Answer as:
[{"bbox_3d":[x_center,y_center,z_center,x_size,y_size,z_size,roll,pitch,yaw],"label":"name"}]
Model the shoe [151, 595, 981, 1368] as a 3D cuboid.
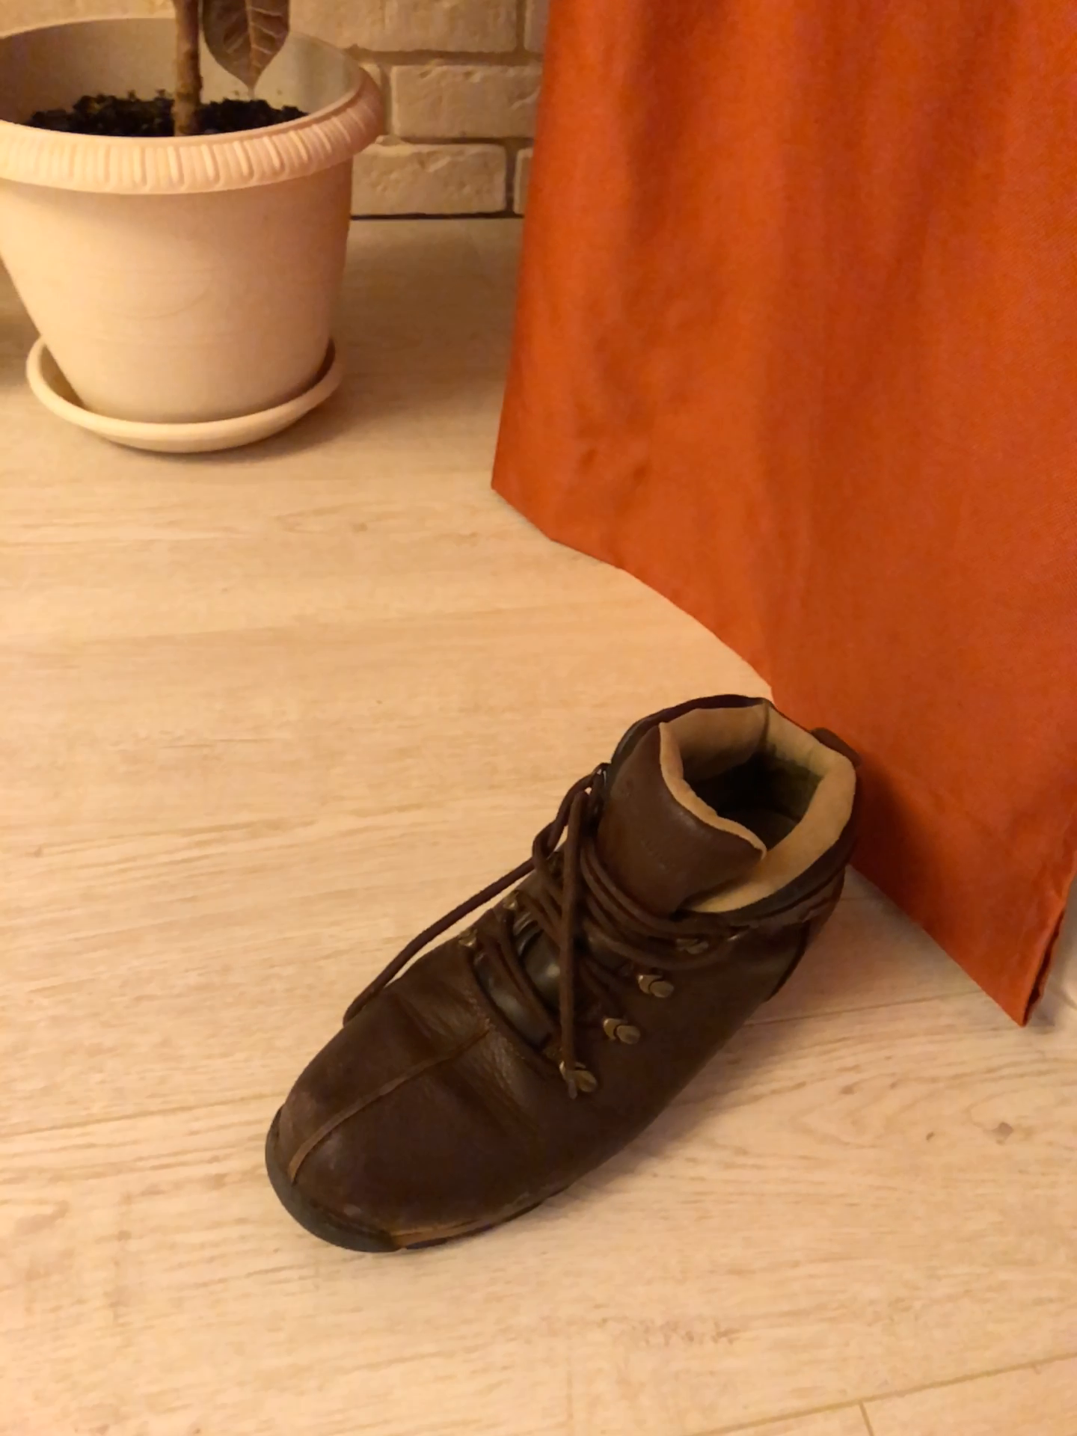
[{"bbox_3d":[0.020,0.092,0.485,0.301,0.159,0.110,-26,52,-29],"label":"shoe"}]
